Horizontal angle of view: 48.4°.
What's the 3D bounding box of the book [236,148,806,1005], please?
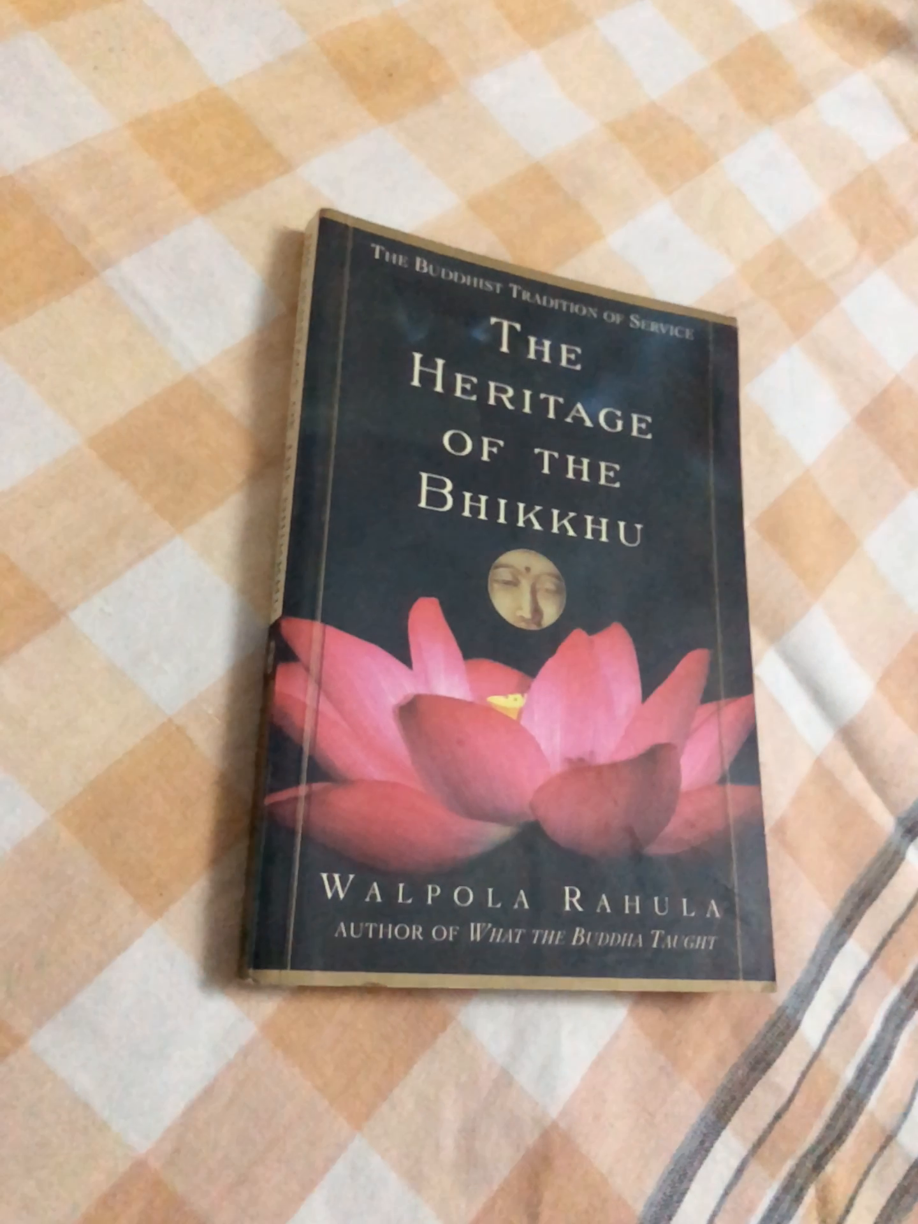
[{"bbox_3d":[0.020,-0.009,0.285,0.141,0.030,0.220,9,70,-22],"label":"book"}]
